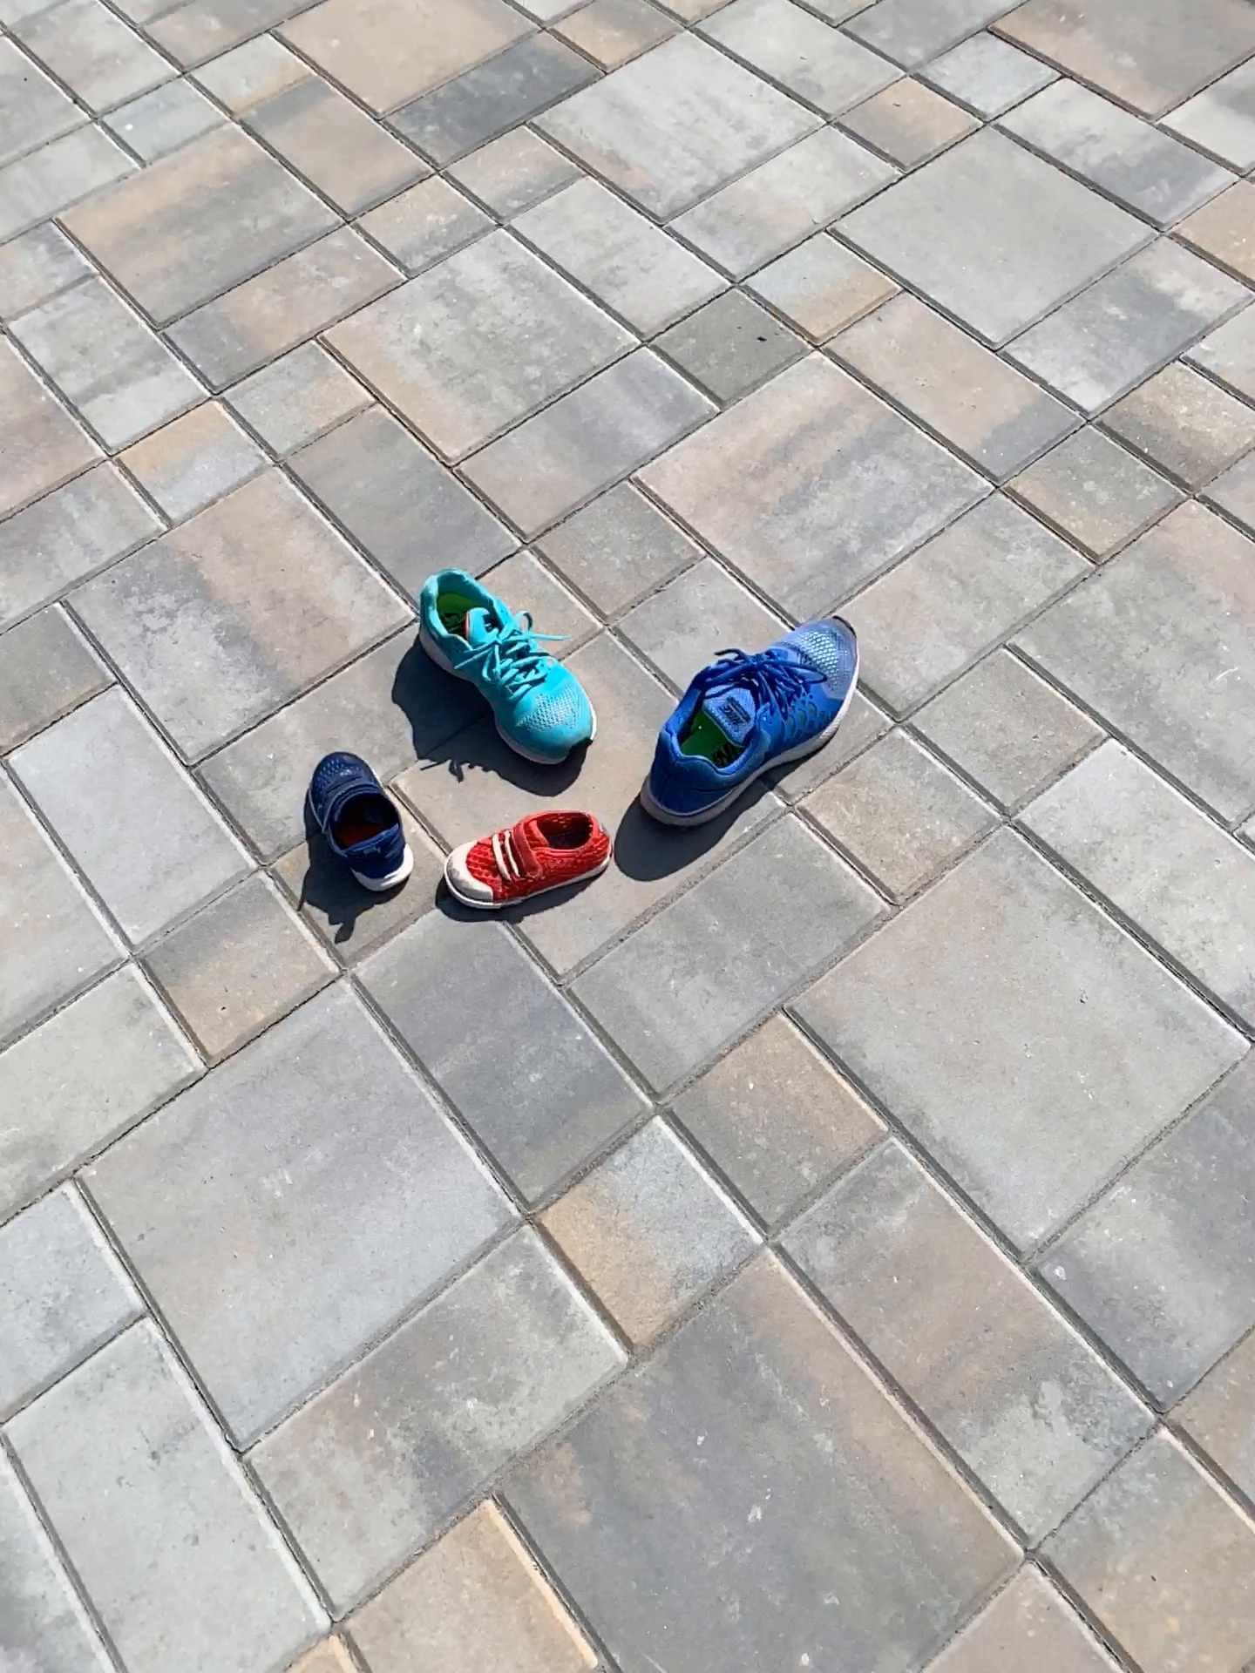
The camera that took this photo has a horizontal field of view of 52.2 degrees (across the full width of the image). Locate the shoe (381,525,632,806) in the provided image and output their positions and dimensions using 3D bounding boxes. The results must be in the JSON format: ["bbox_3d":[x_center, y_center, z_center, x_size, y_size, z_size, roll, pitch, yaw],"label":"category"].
[{"bbox_3d":[-0.112,-0.162,1.200,0.100,0.100,0.241,-37,67,-13],"label":"shoe"}]

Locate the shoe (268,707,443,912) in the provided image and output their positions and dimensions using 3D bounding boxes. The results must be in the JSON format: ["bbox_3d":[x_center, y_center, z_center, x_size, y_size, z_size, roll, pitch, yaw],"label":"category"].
[{"bbox_3d":[-0.242,-0.024,1.142,0.080,0.070,0.150,-31,66,-11],"label":"shoe"}]

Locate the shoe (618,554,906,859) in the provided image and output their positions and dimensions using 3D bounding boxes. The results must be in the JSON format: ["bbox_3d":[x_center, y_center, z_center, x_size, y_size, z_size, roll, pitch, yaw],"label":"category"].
[{"bbox_3d":[0.119,-0.116,1.144,0.240,0.110,0.110,-42,69,-16],"label":"shoe"}]

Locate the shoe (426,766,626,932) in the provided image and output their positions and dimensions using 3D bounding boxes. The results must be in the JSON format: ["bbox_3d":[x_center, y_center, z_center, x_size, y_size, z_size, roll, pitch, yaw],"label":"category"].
[{"bbox_3d":[-0.087,0.012,1.120,0.150,0.080,0.080,-17,64,-4],"label":"shoe"}]
